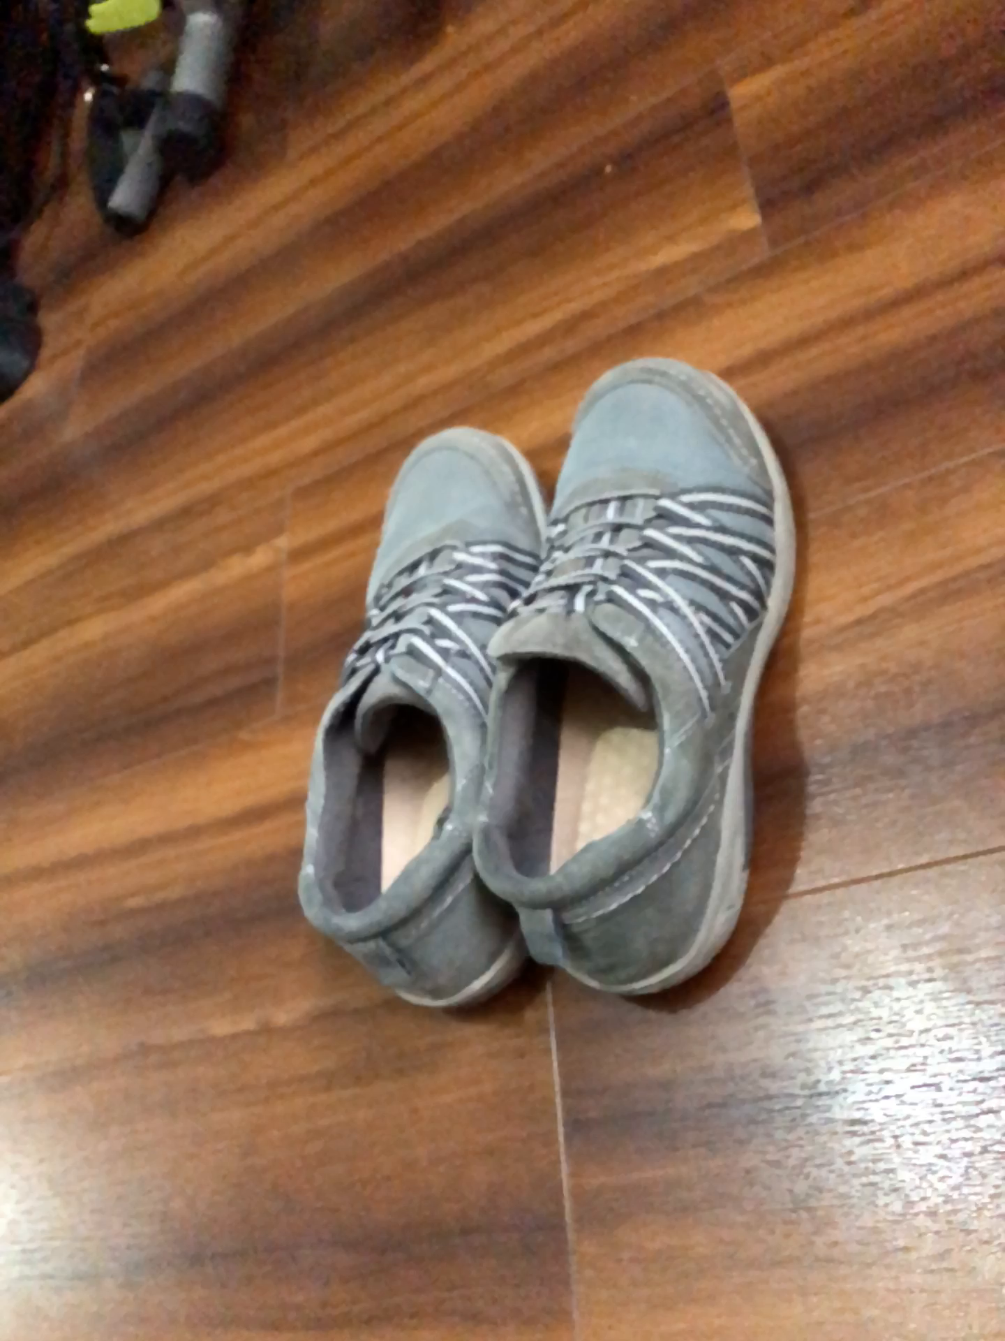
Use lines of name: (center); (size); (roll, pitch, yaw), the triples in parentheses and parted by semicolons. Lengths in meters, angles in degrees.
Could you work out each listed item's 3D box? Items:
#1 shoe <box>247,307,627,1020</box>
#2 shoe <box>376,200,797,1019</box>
shoe: (-0.028, -0.005, 0.497); (0.100, 0.109, 0.281); (-19, 57, 27)
shoe: (0.046, -0.021, 0.432); (0.100, 0.109, 0.281); (-9, 62, 32)
